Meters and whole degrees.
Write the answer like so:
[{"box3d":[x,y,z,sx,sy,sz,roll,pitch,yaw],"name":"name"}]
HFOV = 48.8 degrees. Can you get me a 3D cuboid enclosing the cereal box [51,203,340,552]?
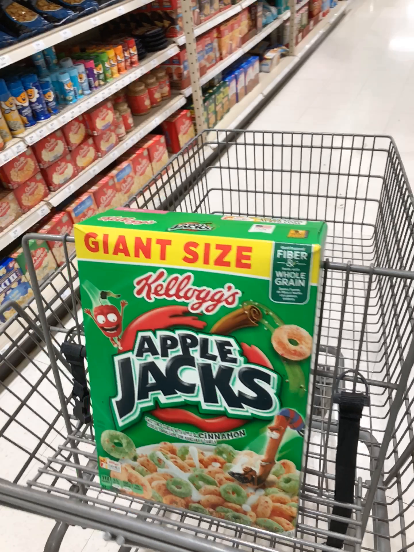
[{"box3d":[-0.009,0.099,0.474,0.250,0.319,0.090,6,22,17],"name":"cereal box"}]
